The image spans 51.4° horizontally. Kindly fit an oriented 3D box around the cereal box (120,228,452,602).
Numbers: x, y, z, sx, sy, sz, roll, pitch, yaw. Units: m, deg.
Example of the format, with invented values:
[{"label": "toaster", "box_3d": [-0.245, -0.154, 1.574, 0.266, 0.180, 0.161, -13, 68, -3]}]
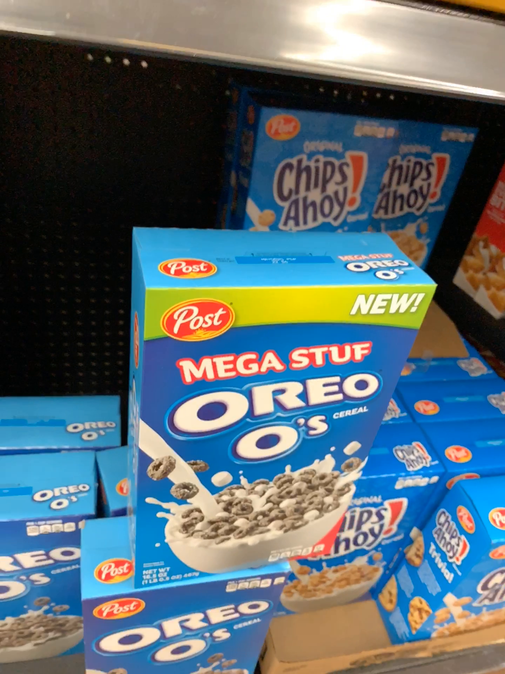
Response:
[{"label": "cereal box", "box_3d": [0.002, 0.071, 0.422, 0.200, 0.298, 0.080, -3, 35, -19]}]
